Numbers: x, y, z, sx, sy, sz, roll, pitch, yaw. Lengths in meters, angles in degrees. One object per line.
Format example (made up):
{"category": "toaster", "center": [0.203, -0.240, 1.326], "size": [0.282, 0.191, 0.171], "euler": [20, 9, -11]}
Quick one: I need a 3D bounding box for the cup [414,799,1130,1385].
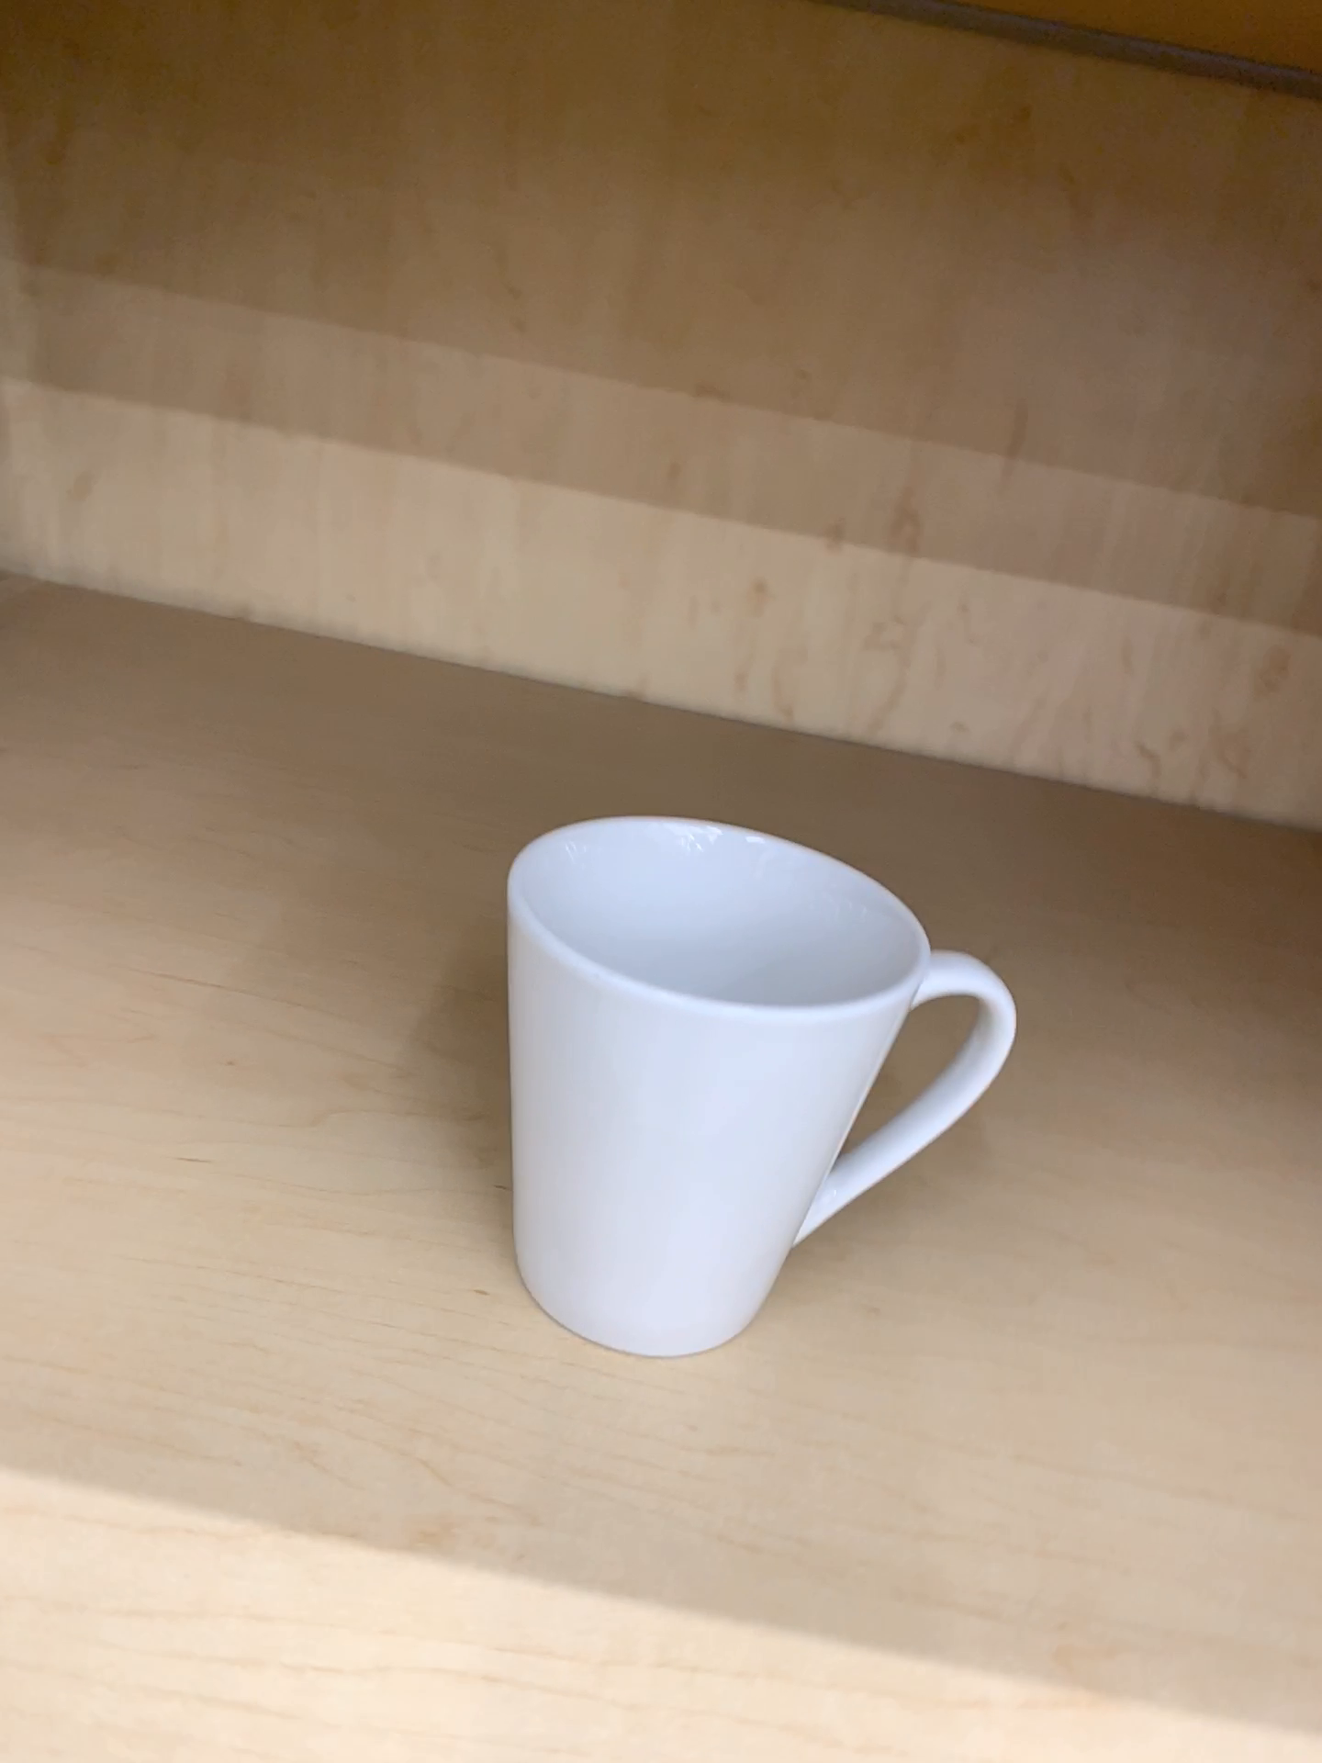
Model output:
{"category": "cup", "center": [0.017, 0.044, 0.326], "size": [0.128, 0.090, 0.094], "euler": [1, 29, -21]}
